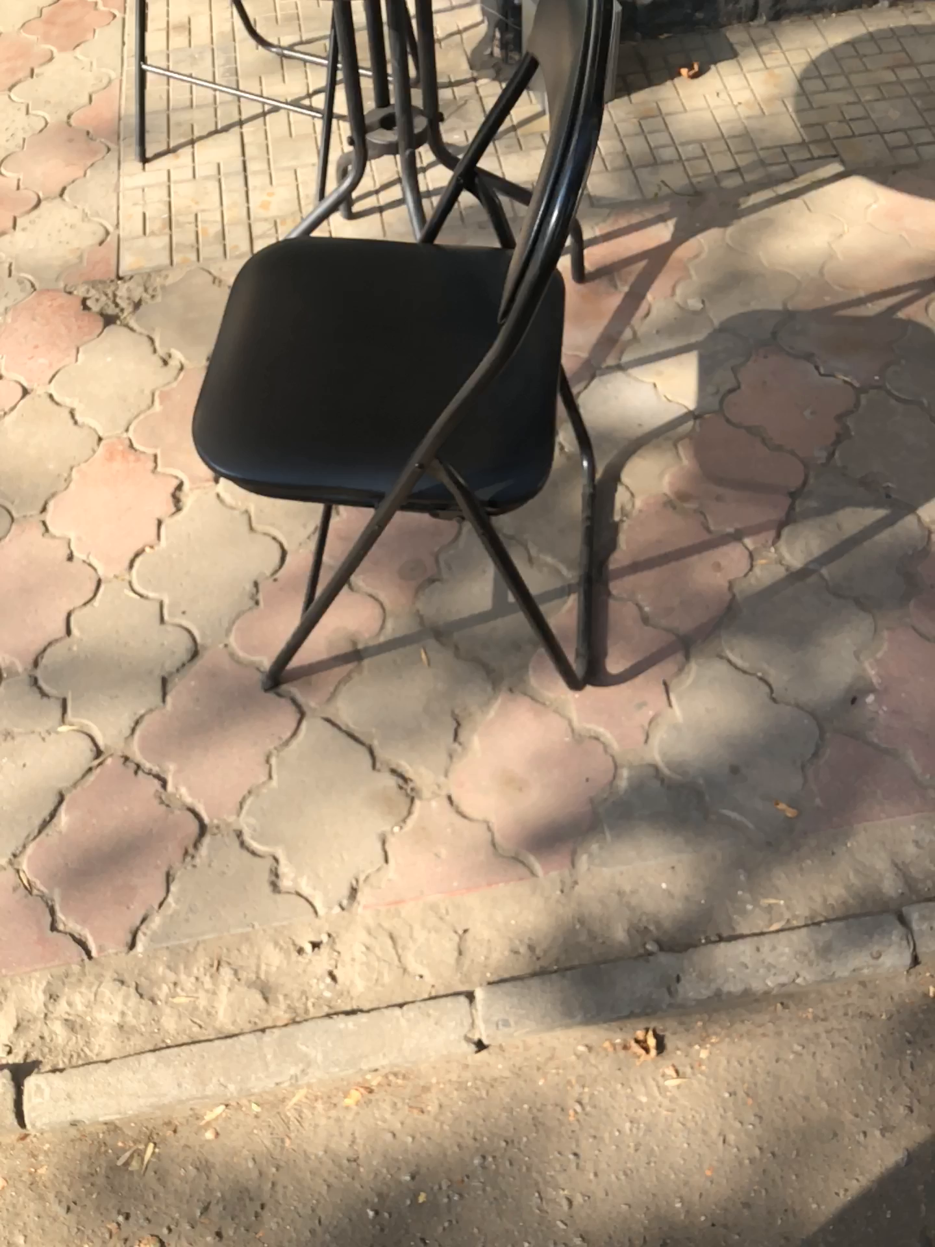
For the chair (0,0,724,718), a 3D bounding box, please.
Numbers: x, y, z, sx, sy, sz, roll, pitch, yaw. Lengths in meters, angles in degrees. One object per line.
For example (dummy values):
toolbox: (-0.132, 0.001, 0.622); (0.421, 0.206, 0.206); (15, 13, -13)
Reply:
chair: (-0.048, -0.295, 1.117); (0.500, 0.638, 0.531); (2, 56, 4)
